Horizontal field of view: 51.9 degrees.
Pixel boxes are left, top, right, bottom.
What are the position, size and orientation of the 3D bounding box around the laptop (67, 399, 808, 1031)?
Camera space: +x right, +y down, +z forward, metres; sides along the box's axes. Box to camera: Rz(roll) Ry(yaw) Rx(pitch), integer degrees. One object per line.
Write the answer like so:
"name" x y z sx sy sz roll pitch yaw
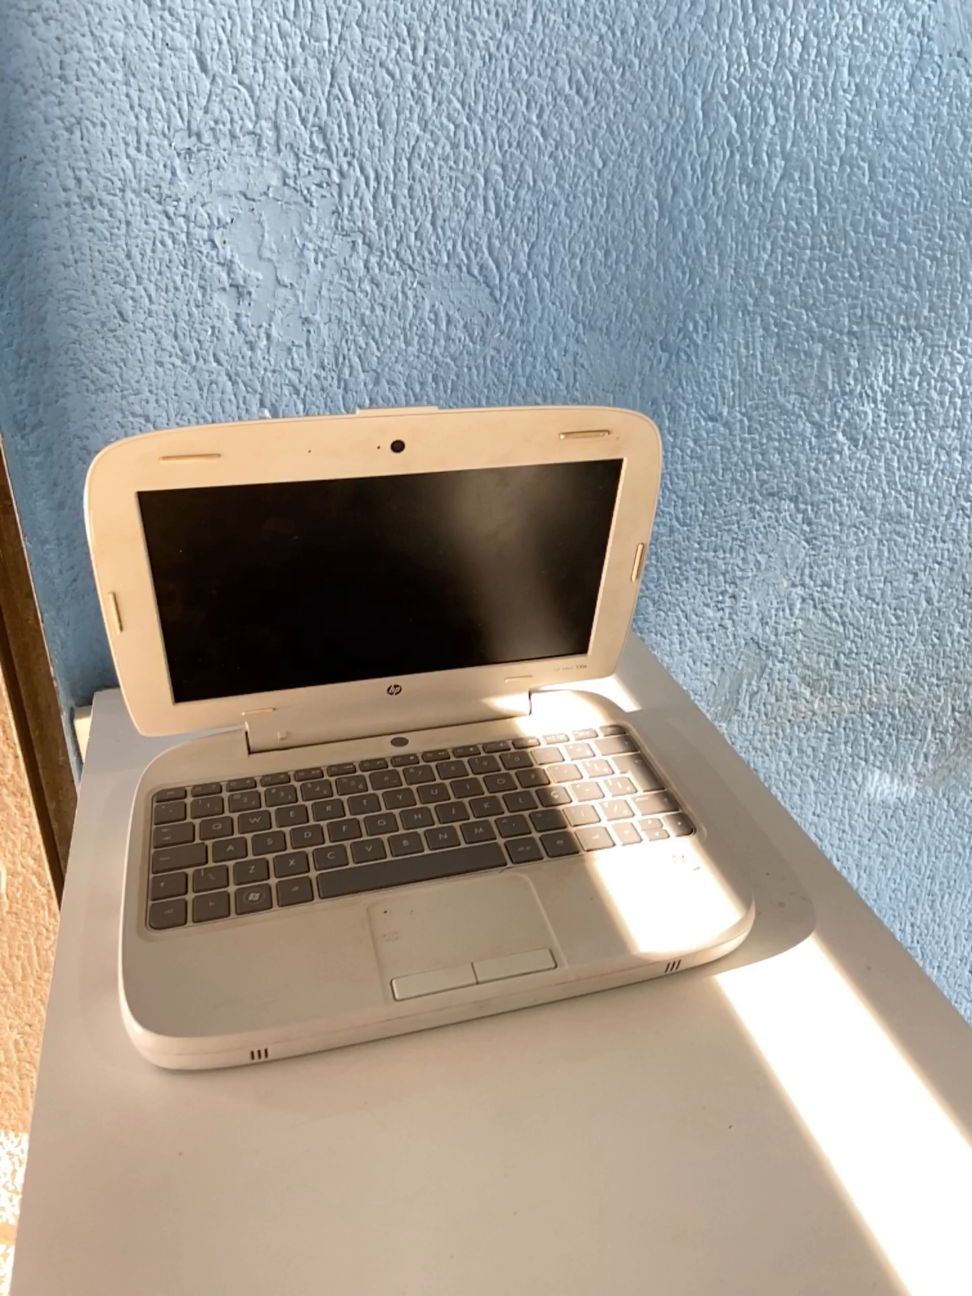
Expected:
"laptop" -0.032 0.010 0.440 0.247 0.172 0.178 -7 30 -13
